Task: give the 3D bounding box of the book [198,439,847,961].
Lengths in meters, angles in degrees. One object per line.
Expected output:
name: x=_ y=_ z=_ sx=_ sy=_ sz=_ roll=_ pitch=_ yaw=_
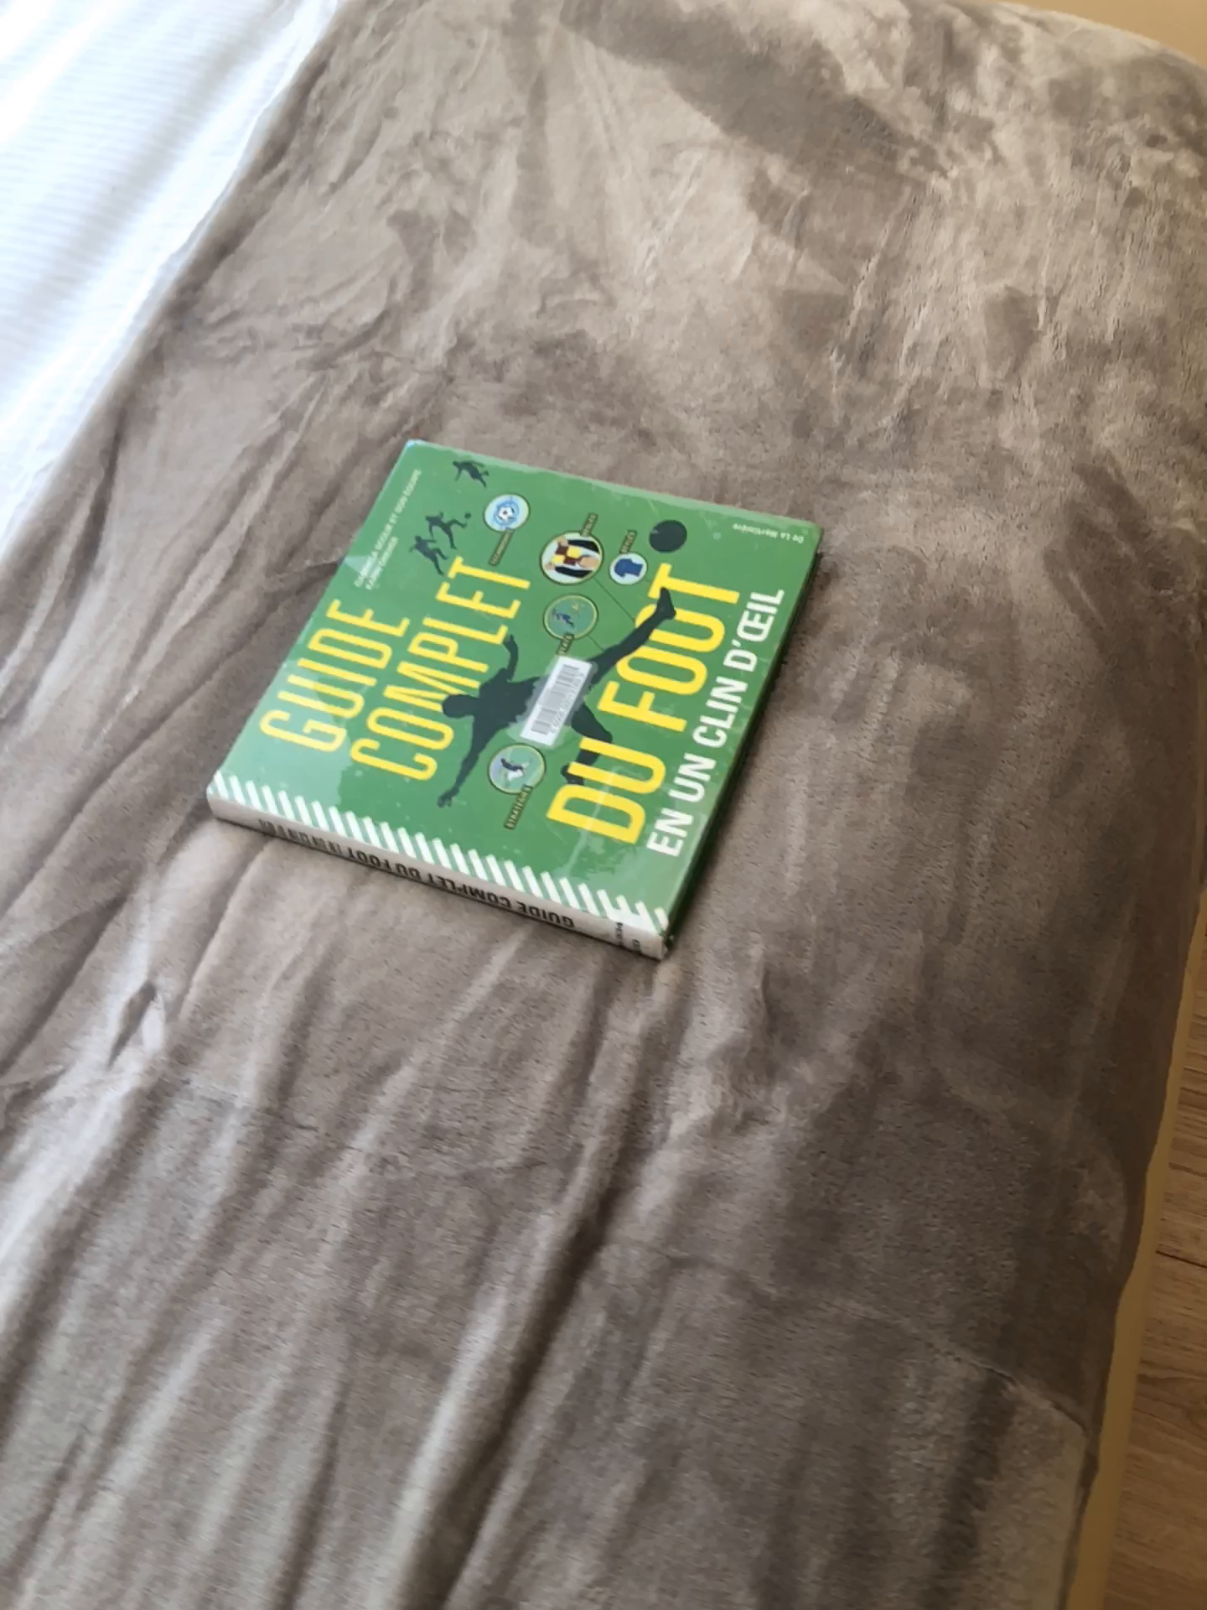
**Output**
book: x=-0.033 y=-0.065 z=0.630 sx=0.238 sy=0.019 sz=0.228 roll=16 pitch=63 yaw=16
